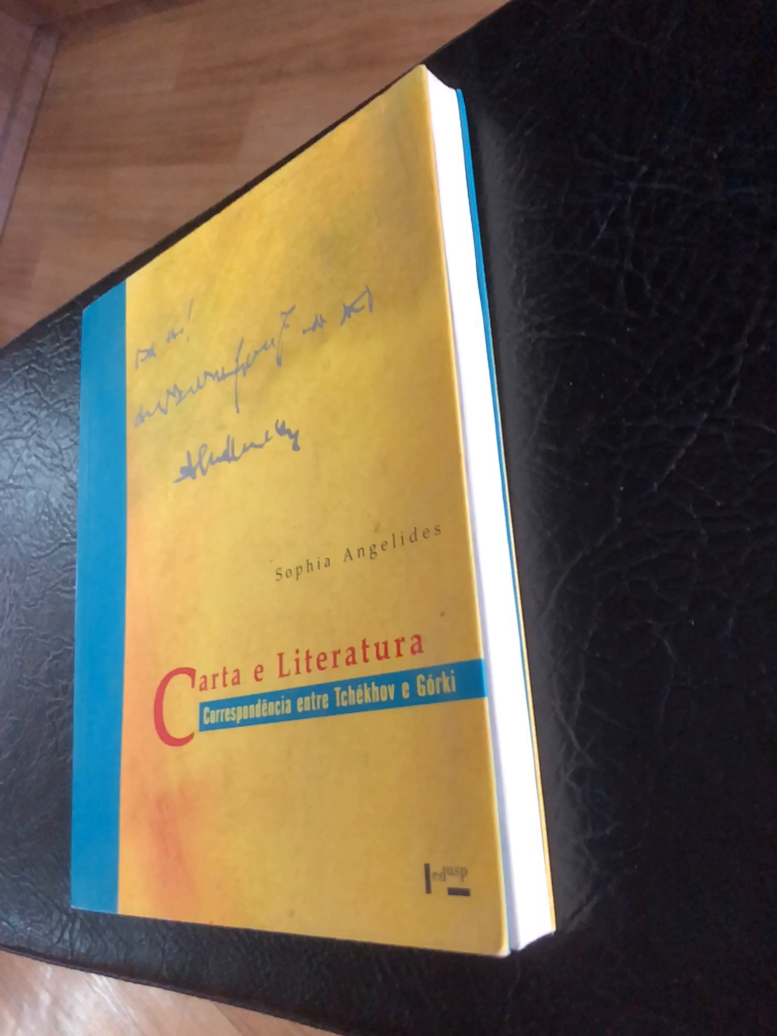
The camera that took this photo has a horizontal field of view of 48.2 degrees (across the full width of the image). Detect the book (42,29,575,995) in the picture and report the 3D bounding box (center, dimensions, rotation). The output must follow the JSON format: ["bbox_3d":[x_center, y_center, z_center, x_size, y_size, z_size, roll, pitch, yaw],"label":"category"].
[{"bbox_3d":[-0.042,0.005,0.244,0.173,0.024,0.208,-17,70,40],"label":"book"}]
